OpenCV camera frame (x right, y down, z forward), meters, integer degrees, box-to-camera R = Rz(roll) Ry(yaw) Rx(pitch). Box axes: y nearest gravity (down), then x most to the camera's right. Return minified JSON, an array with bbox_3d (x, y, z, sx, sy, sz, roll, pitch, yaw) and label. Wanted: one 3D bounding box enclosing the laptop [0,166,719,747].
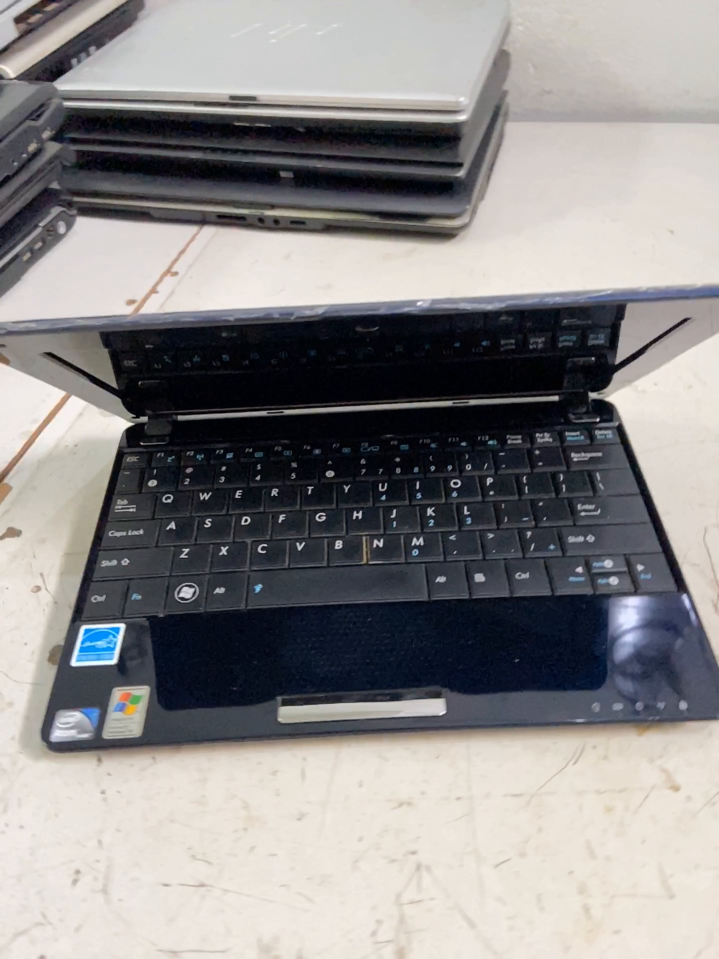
[{"bbox_3d":[0.003,-0.015,0.294,0.258,0.121,0.170,-3,47,0],"label":"laptop"}]
